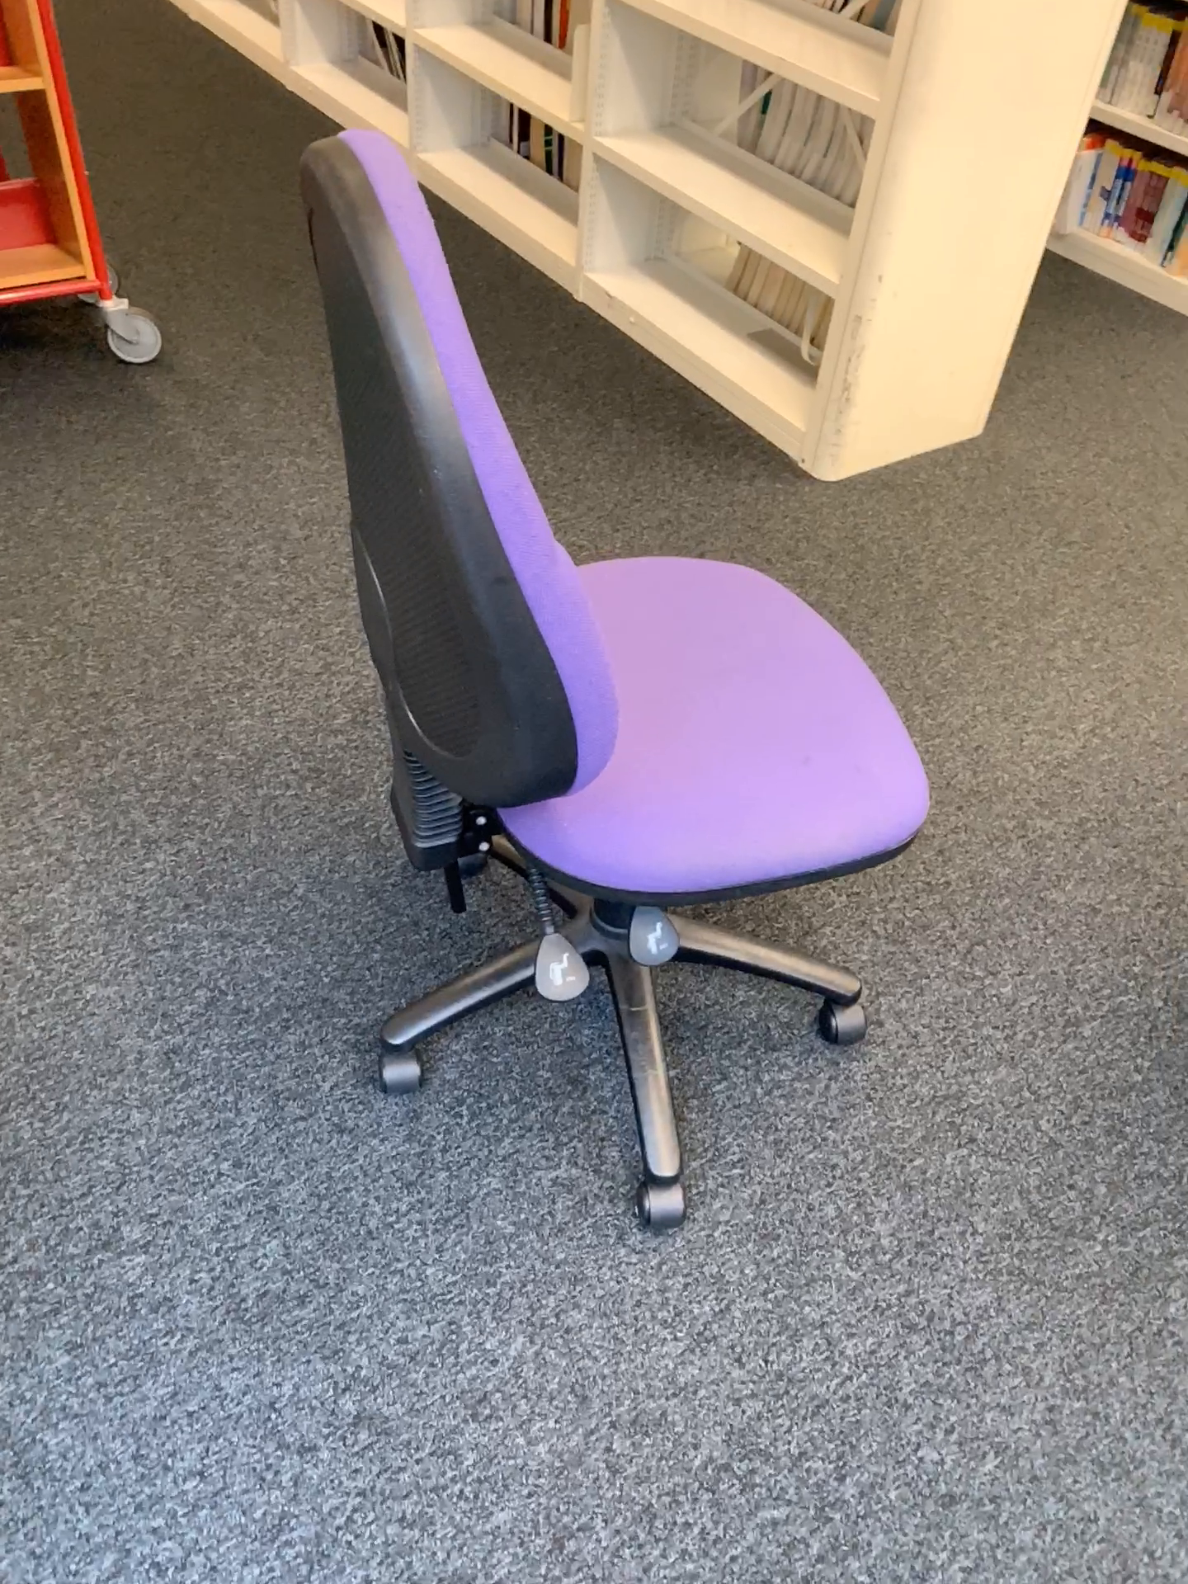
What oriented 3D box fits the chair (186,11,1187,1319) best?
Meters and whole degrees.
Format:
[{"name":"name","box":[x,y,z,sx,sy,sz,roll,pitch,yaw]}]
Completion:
[{"name":"chair","box":[0.051,-0.107,1.187,0.635,0.984,0.674,-12,48,-17]}]
